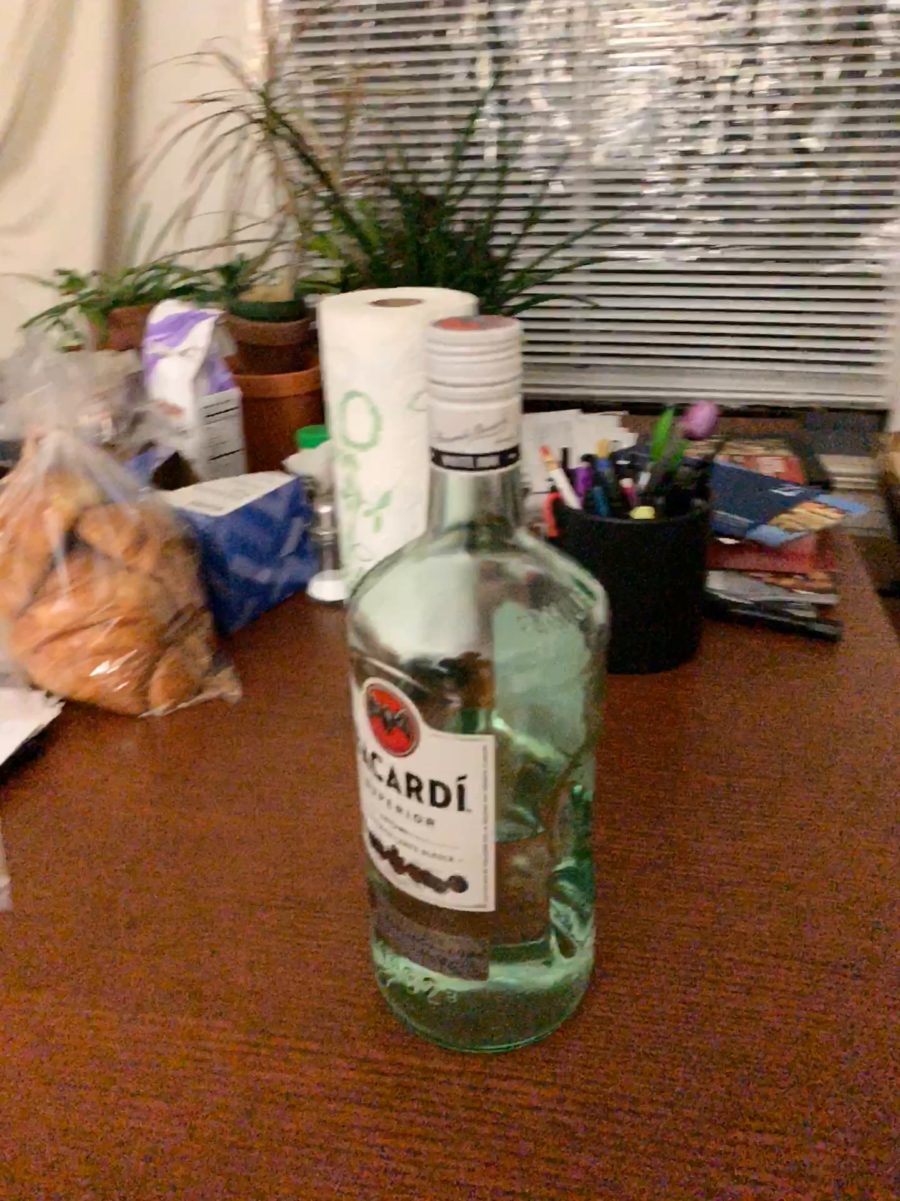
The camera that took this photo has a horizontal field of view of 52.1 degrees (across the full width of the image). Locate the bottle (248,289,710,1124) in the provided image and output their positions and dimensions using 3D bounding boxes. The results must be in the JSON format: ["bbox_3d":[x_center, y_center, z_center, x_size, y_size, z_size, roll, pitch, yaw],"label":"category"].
[{"bbox_3d":[0.016,0.045,0.410,0.121,0.328,0.120,-1,26,1],"label":"bottle"}]
